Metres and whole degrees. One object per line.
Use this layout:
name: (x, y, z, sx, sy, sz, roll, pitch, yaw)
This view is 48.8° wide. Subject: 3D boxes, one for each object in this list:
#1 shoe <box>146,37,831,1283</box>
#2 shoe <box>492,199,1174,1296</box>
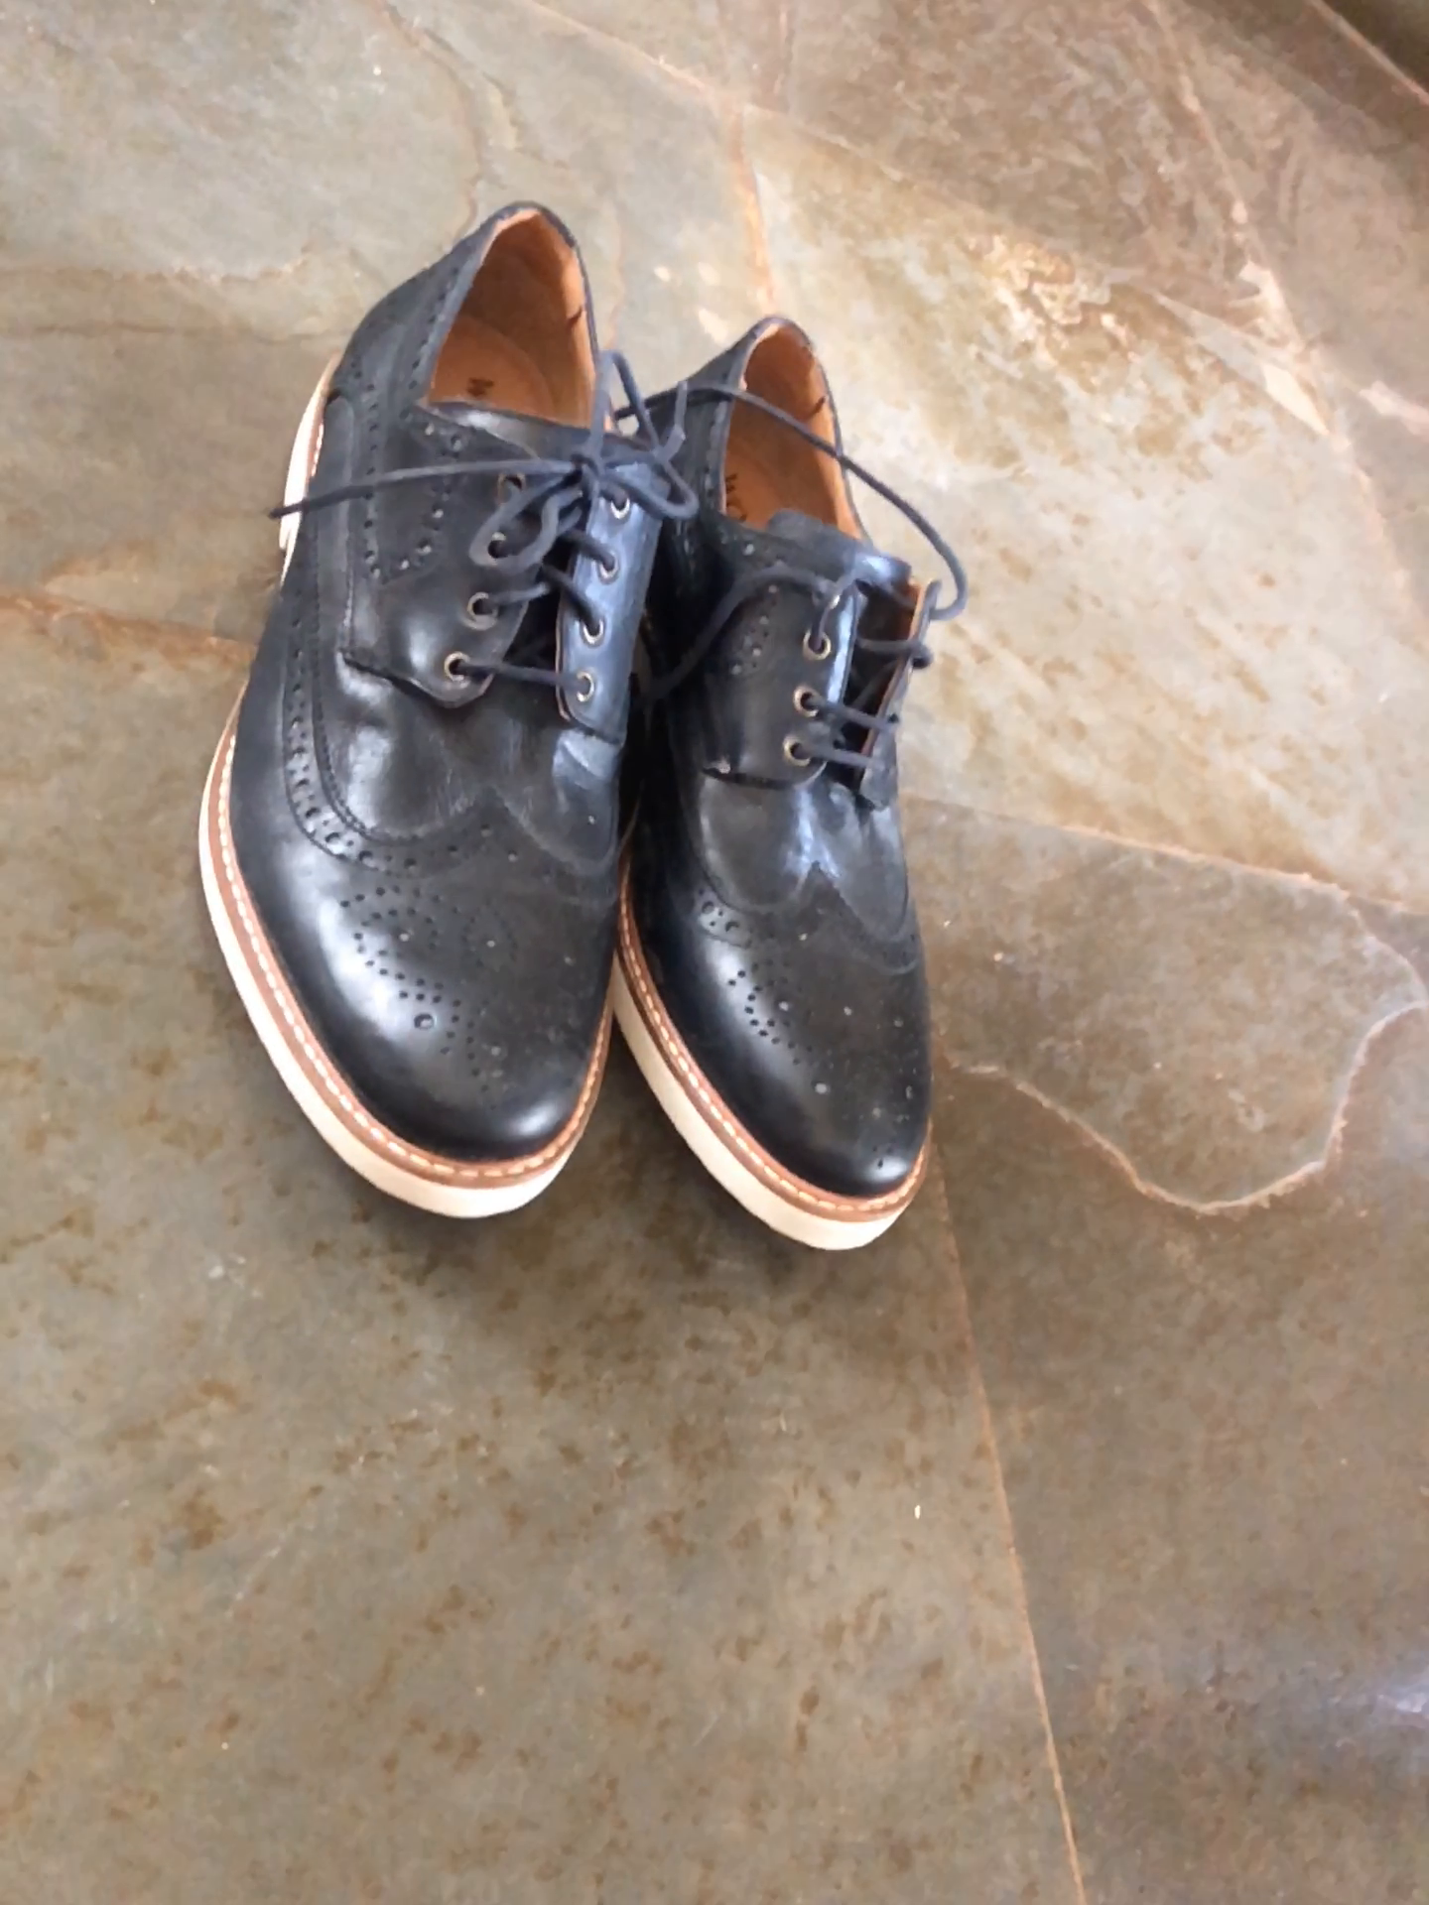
shoe: (-0.063, -0.077, 0.396, 0.110, 0.099, 0.291, 11, 56, -28)
shoe: (0.018, -0.062, 0.461, 0.110, 0.099, 0.301, 8, 58, -30)
